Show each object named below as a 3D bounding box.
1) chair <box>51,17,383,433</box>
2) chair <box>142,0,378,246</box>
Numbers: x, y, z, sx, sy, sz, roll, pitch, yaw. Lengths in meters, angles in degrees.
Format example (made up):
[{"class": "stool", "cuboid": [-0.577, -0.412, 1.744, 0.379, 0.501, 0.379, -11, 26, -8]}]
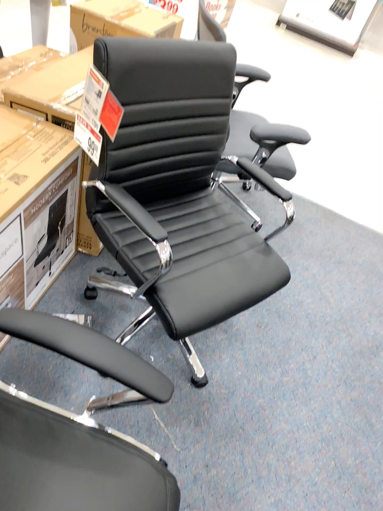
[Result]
[{"class": "chair", "cuboid": [0.015, -0.077, 1.237, 0.656, 0.953, 0.650, -19, 56, -35]}, {"class": "chair", "cuboid": [0.210, -0.645, 1.948, 0.720, 0.874, 0.737, 4, 45, -17]}]
